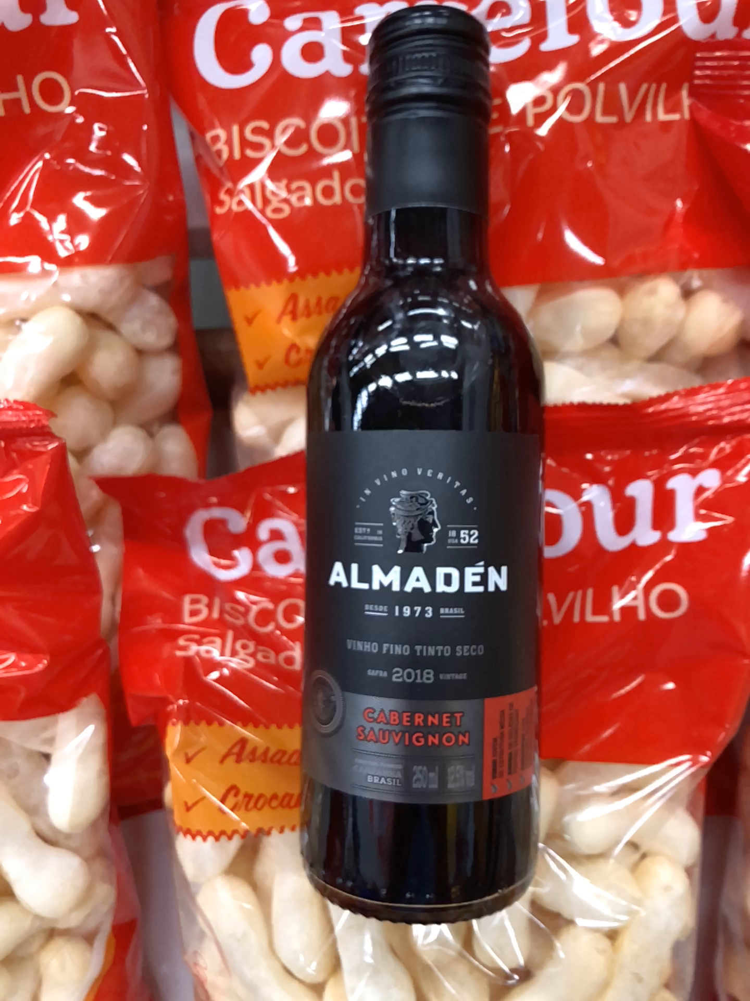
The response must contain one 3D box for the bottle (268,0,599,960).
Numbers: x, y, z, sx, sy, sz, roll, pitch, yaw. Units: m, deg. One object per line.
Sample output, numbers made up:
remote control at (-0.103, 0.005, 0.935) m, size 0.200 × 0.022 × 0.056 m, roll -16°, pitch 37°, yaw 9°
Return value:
bottle at (0.013, -0.016, 0.186) m, size 0.060 × 0.050 × 0.200 m, roll 1°, pitch 87°, yaw 4°
